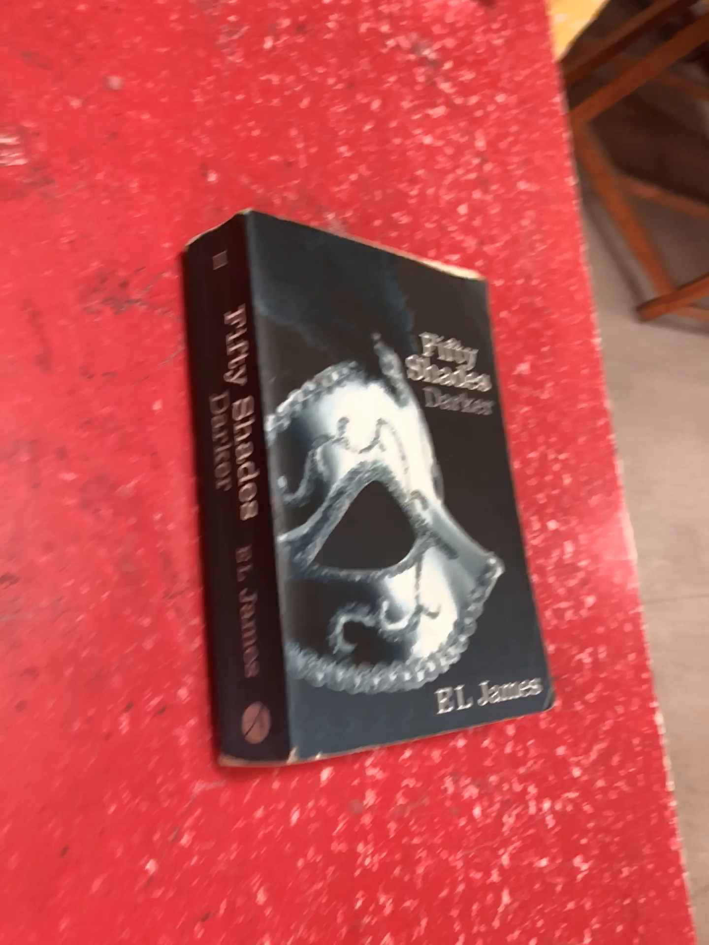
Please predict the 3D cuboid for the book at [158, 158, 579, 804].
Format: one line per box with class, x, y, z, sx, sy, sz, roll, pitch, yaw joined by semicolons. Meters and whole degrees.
book;0.006;0.003;0.312;0.141;0.050;0.210;3;74;-38
